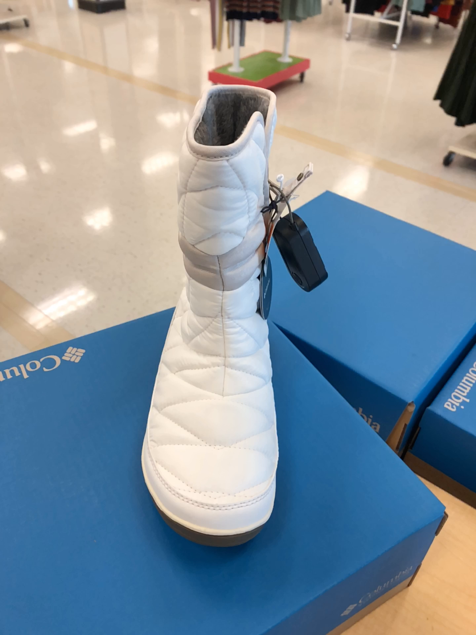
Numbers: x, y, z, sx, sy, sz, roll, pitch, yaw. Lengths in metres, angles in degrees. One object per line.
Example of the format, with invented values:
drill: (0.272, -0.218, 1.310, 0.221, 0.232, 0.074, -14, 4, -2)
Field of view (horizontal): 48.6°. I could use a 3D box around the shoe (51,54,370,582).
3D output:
shoe: (-0.012, -0.012, 0.346, 0.104, 0.228, 0.262, 1, 40, -1)
